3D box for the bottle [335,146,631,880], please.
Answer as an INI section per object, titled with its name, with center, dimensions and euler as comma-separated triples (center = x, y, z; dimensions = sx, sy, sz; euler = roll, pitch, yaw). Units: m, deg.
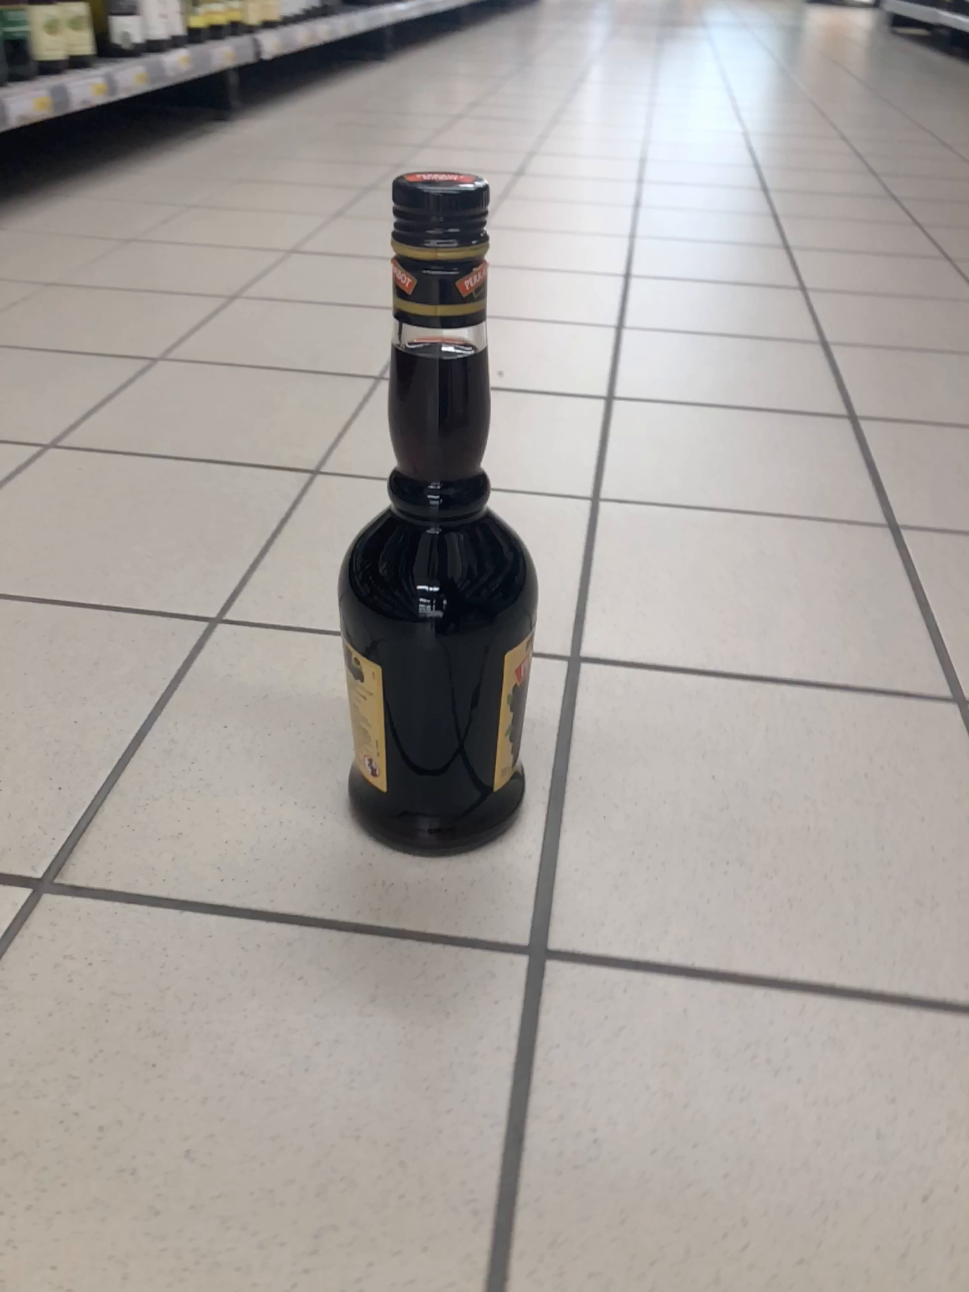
[bottle]
center = -0.010, -0.042, 0.406
dimensions = 0.080, 0.258, 0.090
euler = -3, 32, -9
